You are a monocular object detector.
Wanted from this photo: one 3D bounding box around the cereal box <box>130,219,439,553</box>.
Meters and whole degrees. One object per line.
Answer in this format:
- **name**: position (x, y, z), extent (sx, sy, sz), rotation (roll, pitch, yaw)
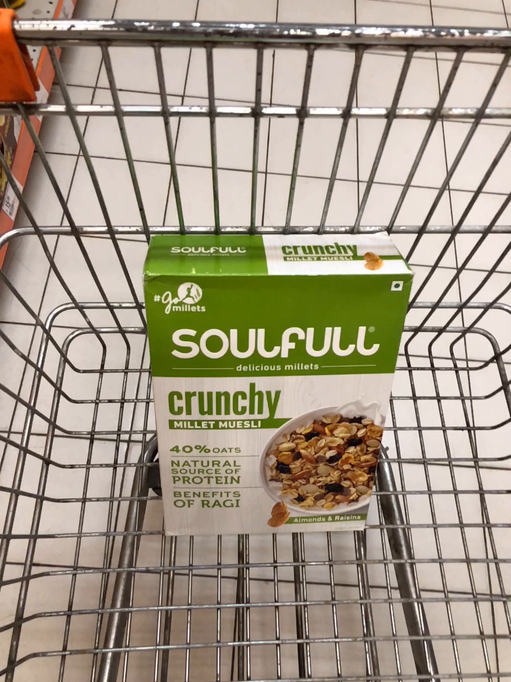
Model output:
- **cereal box**: position (0.012, 0.041, 0.401), extent (0.170, 0.239, 0.070), rotation (-1, 32, -4)
